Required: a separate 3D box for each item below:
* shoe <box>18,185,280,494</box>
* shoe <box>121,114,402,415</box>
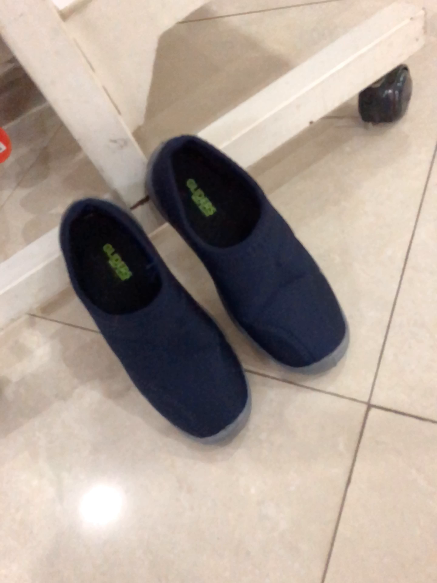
[{"bbox_3d":[-0.115,0.077,0.817,0.160,0.200,0.461,-36,81,-9],"label":"shoe"},{"bbox_3d":[0.062,-0.040,0.873,0.186,0.207,0.490,-38,80,-6],"label":"shoe"}]
